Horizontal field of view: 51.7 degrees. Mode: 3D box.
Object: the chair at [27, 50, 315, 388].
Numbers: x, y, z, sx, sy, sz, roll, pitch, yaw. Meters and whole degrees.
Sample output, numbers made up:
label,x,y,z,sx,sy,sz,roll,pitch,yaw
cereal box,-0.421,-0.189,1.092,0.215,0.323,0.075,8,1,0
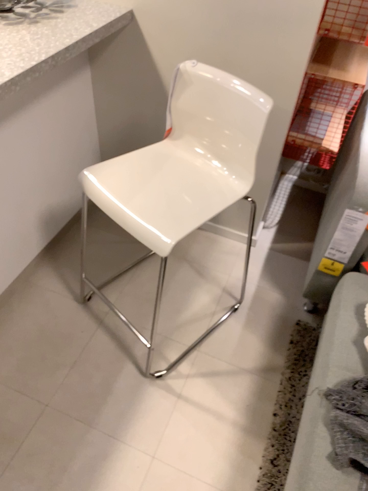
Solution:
label,x,y,z,sx,sy,sz,roll,pitch,yaw
chair,-0.057,-0.057,1.310,0.542,0.905,0.511,-32,57,-29
